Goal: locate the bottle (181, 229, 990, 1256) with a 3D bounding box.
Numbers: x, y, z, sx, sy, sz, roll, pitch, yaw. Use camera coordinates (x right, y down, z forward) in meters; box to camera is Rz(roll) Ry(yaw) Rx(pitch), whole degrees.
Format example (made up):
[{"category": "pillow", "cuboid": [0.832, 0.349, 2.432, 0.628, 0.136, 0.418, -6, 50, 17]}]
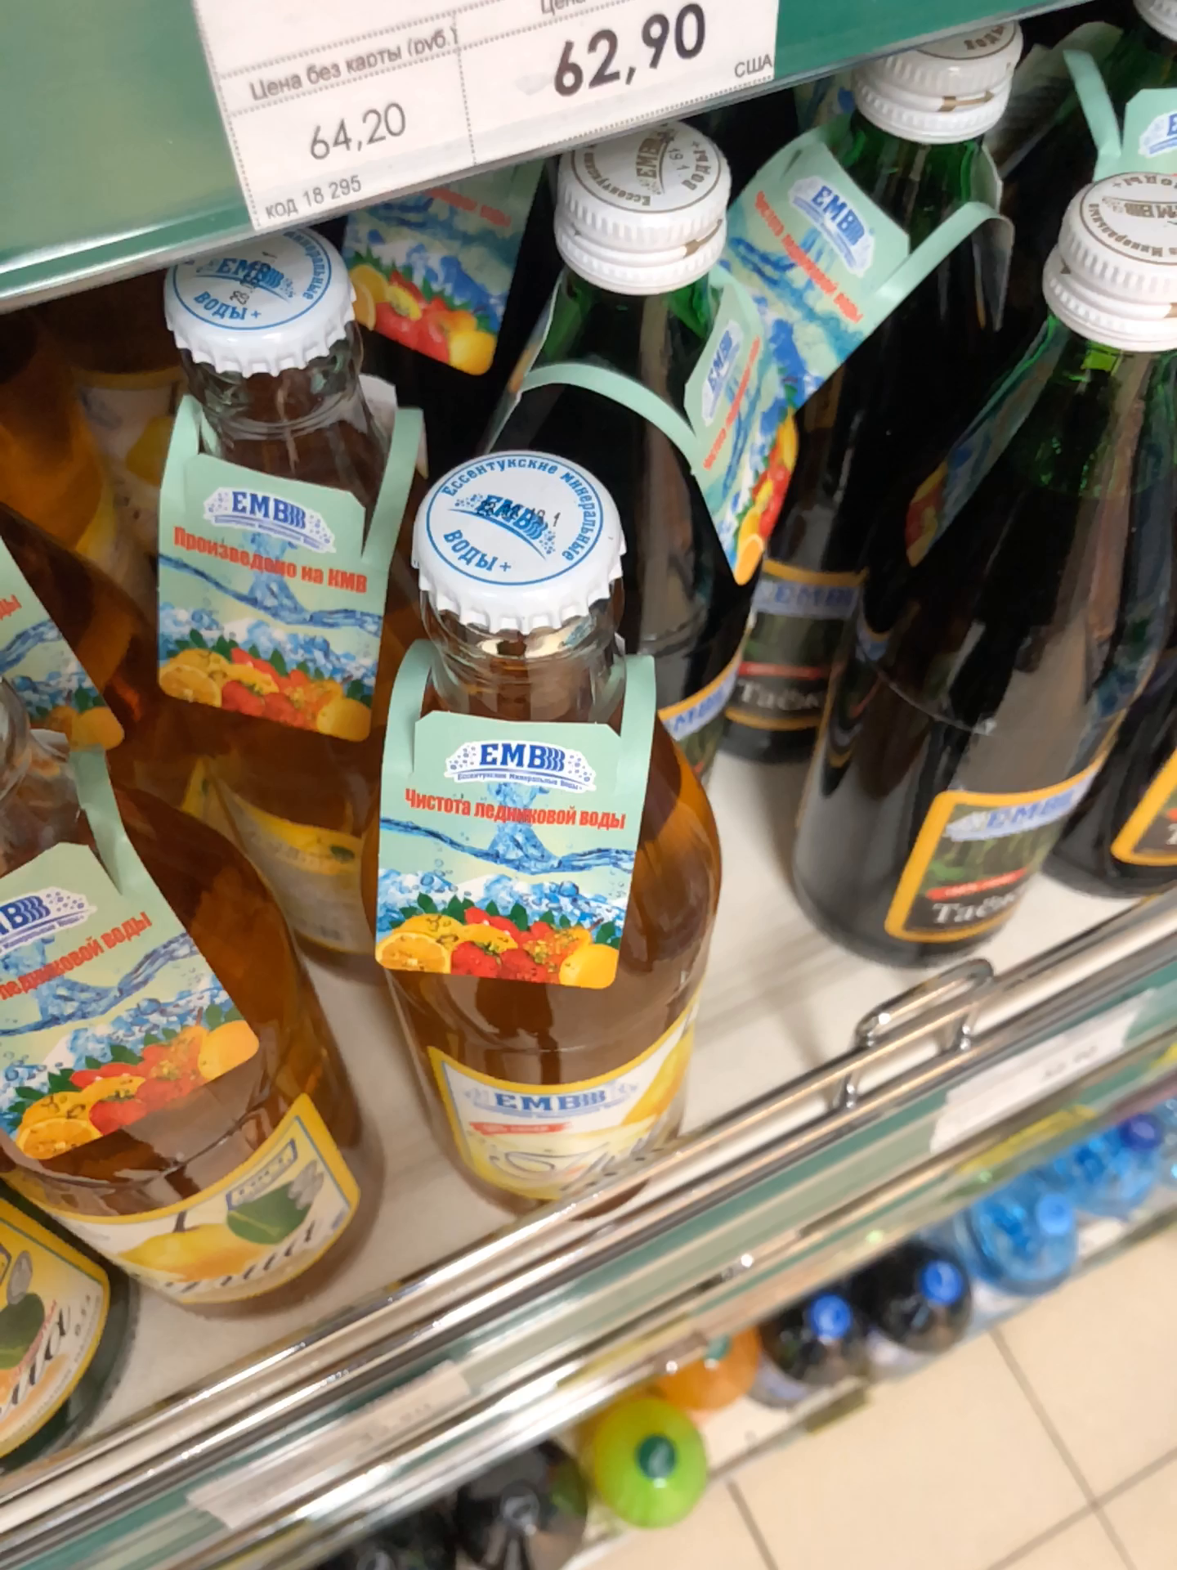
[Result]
[{"category": "bottle", "cuboid": [-0.004, 0.020, 0.270, 0.080, 0.234, 0.070, -26, 63, -15]}]
